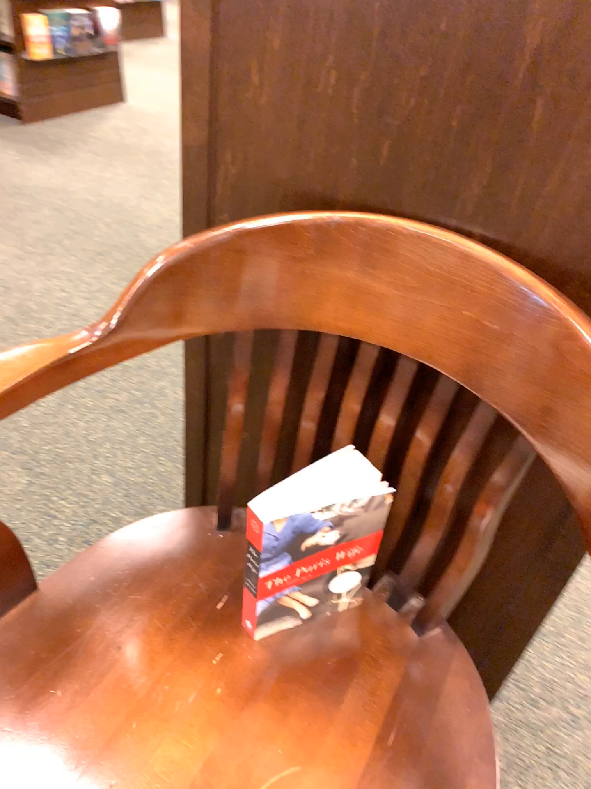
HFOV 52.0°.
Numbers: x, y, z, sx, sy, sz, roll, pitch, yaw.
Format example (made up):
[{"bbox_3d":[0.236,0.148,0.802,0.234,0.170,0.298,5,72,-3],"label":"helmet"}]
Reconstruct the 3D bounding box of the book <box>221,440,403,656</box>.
[{"bbox_3d":[0.009,0.162,0.634,0.150,0.199,0.071,-15,44,-26],"label":"book"}]
